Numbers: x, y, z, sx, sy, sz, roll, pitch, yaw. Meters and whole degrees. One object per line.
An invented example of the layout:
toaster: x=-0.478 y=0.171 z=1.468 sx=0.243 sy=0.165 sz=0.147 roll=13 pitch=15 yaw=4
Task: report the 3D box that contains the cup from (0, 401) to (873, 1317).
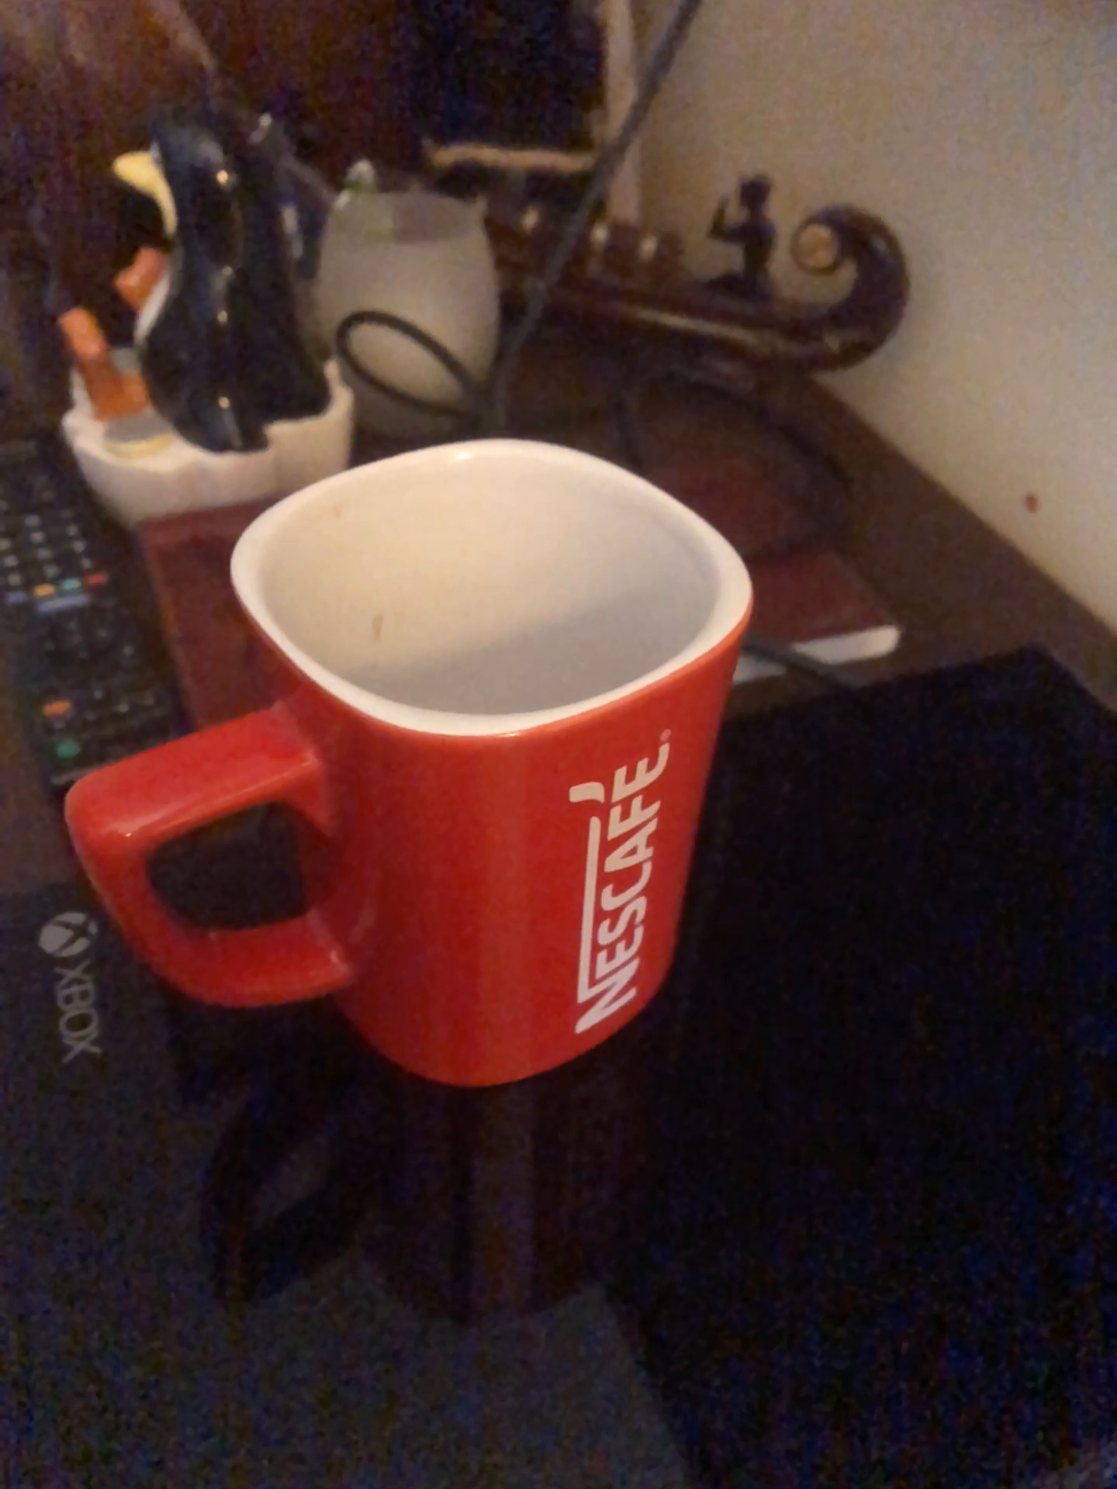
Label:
cup: x=-0.023 y=0.012 z=0.214 sx=0.110 sy=0.089 sz=0.080 roll=-25 pitch=48 yaw=-28
